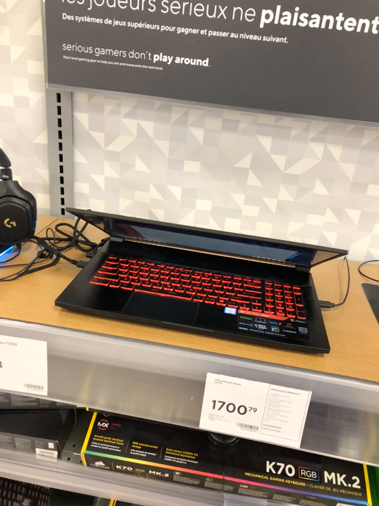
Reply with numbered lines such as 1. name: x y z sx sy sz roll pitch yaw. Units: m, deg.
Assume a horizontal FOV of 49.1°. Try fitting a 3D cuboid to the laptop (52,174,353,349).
1. laptop: 0.023 -0.008 0.672 0.393 0.133 0.249 9 25 6
